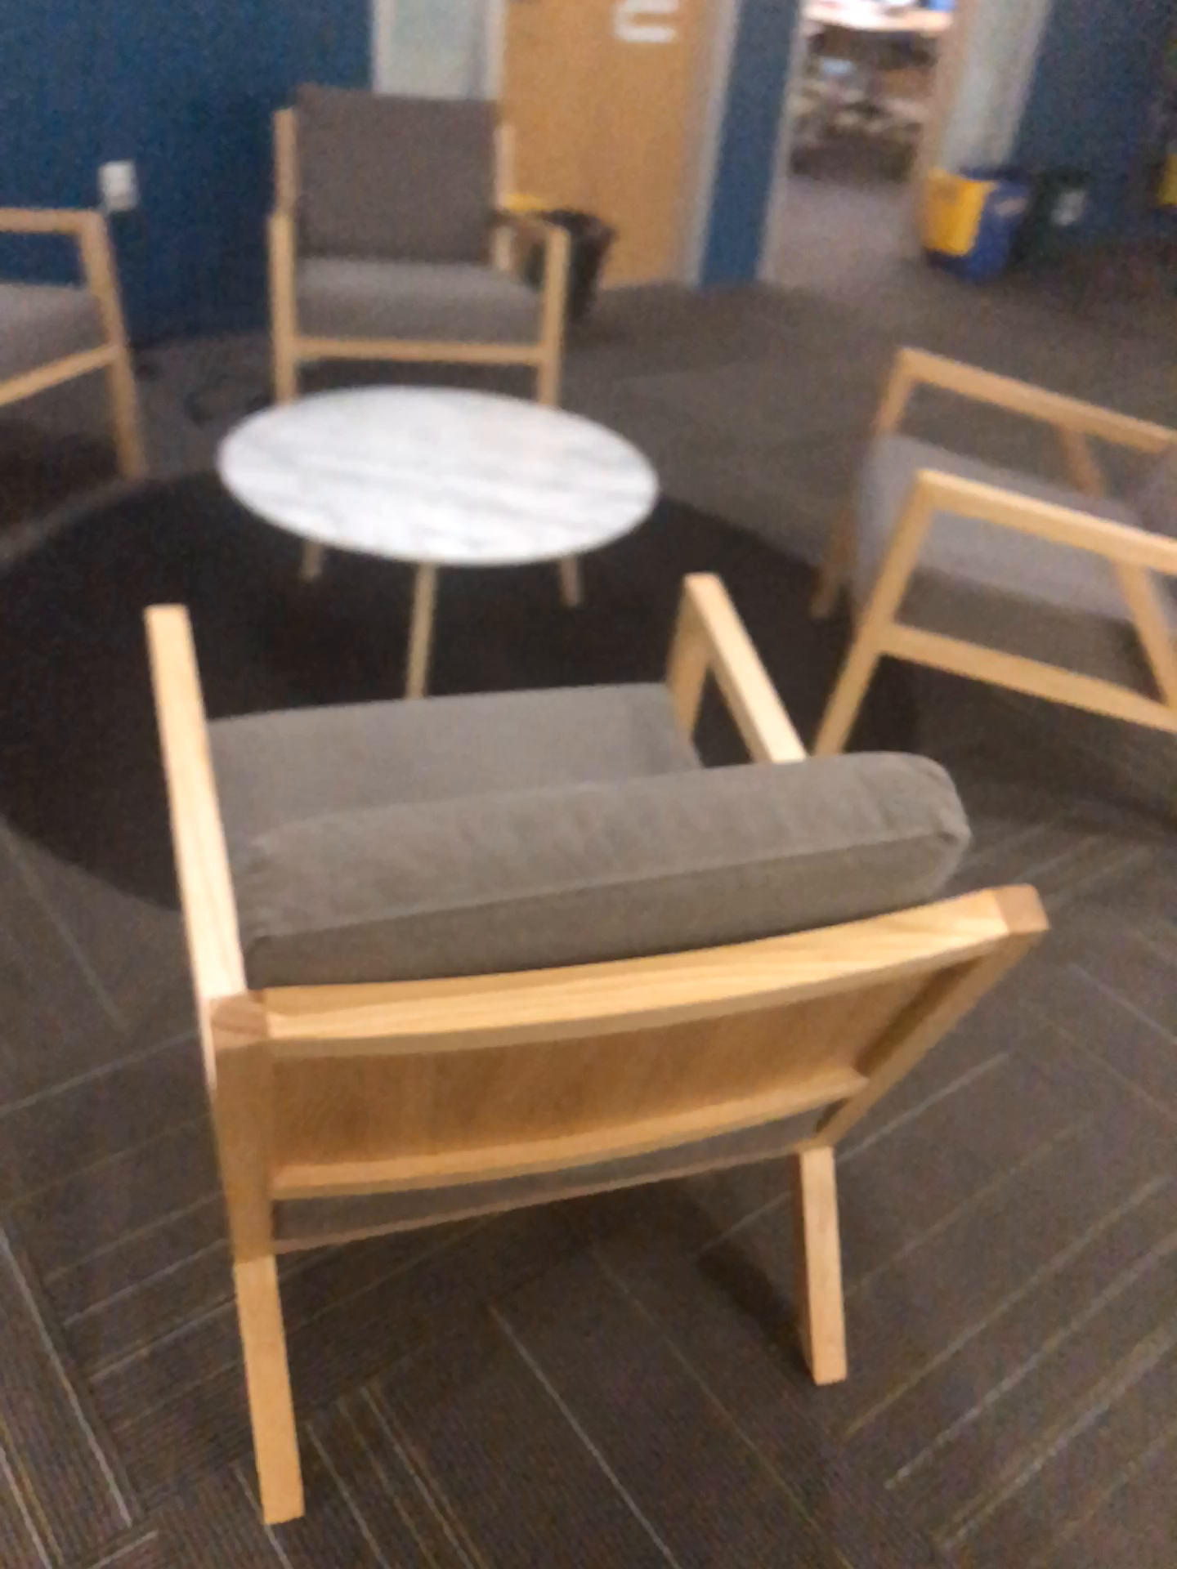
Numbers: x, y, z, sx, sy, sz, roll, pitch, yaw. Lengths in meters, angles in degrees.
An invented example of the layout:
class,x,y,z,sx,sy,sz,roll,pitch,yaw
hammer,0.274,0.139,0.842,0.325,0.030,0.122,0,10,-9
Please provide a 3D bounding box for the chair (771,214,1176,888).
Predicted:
class,x,y,z,sx,sy,sz,roll,pitch,yaw
chair,0.860,-0.433,2.312,0.870,0.753,0.726,14,35,1

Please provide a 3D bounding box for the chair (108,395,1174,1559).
class,x,y,z,sx,sy,sz,roll,pitch,yaw
chair,-0.076,0.132,1.374,0.721,0.773,0.806,-5,40,-16
